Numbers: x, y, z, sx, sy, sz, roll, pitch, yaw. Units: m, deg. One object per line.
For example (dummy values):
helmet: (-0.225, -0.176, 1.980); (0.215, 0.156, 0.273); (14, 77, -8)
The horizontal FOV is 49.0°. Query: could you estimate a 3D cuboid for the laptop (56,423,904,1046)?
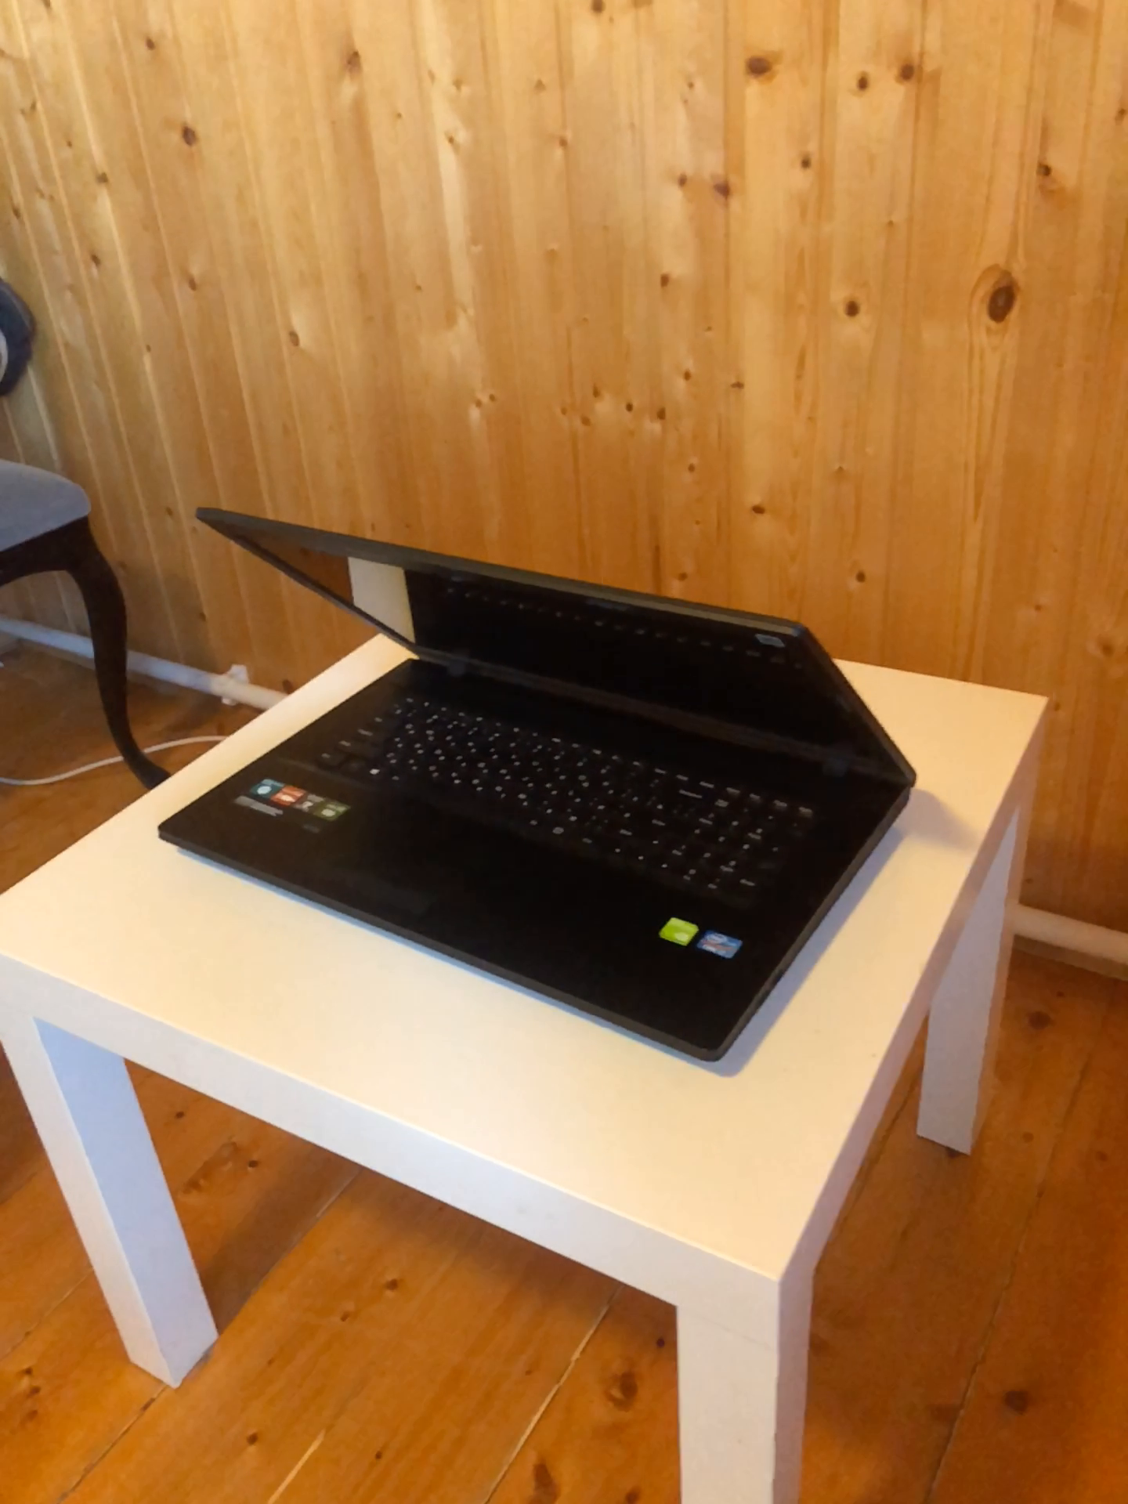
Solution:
laptop: (-0.044, -0.044, 0.742); (0.402, 0.183, 0.252); (16, 37, 29)
